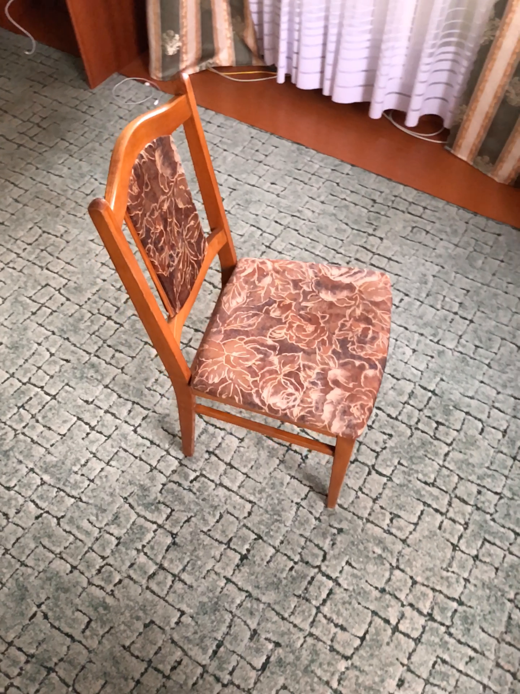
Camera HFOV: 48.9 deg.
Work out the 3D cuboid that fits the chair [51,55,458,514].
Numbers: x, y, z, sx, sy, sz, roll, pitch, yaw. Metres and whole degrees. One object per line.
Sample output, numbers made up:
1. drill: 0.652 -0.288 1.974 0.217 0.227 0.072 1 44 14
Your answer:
1. chair: 0.023 -0.069 1.307 0.550 0.875 0.483 15 57 10
